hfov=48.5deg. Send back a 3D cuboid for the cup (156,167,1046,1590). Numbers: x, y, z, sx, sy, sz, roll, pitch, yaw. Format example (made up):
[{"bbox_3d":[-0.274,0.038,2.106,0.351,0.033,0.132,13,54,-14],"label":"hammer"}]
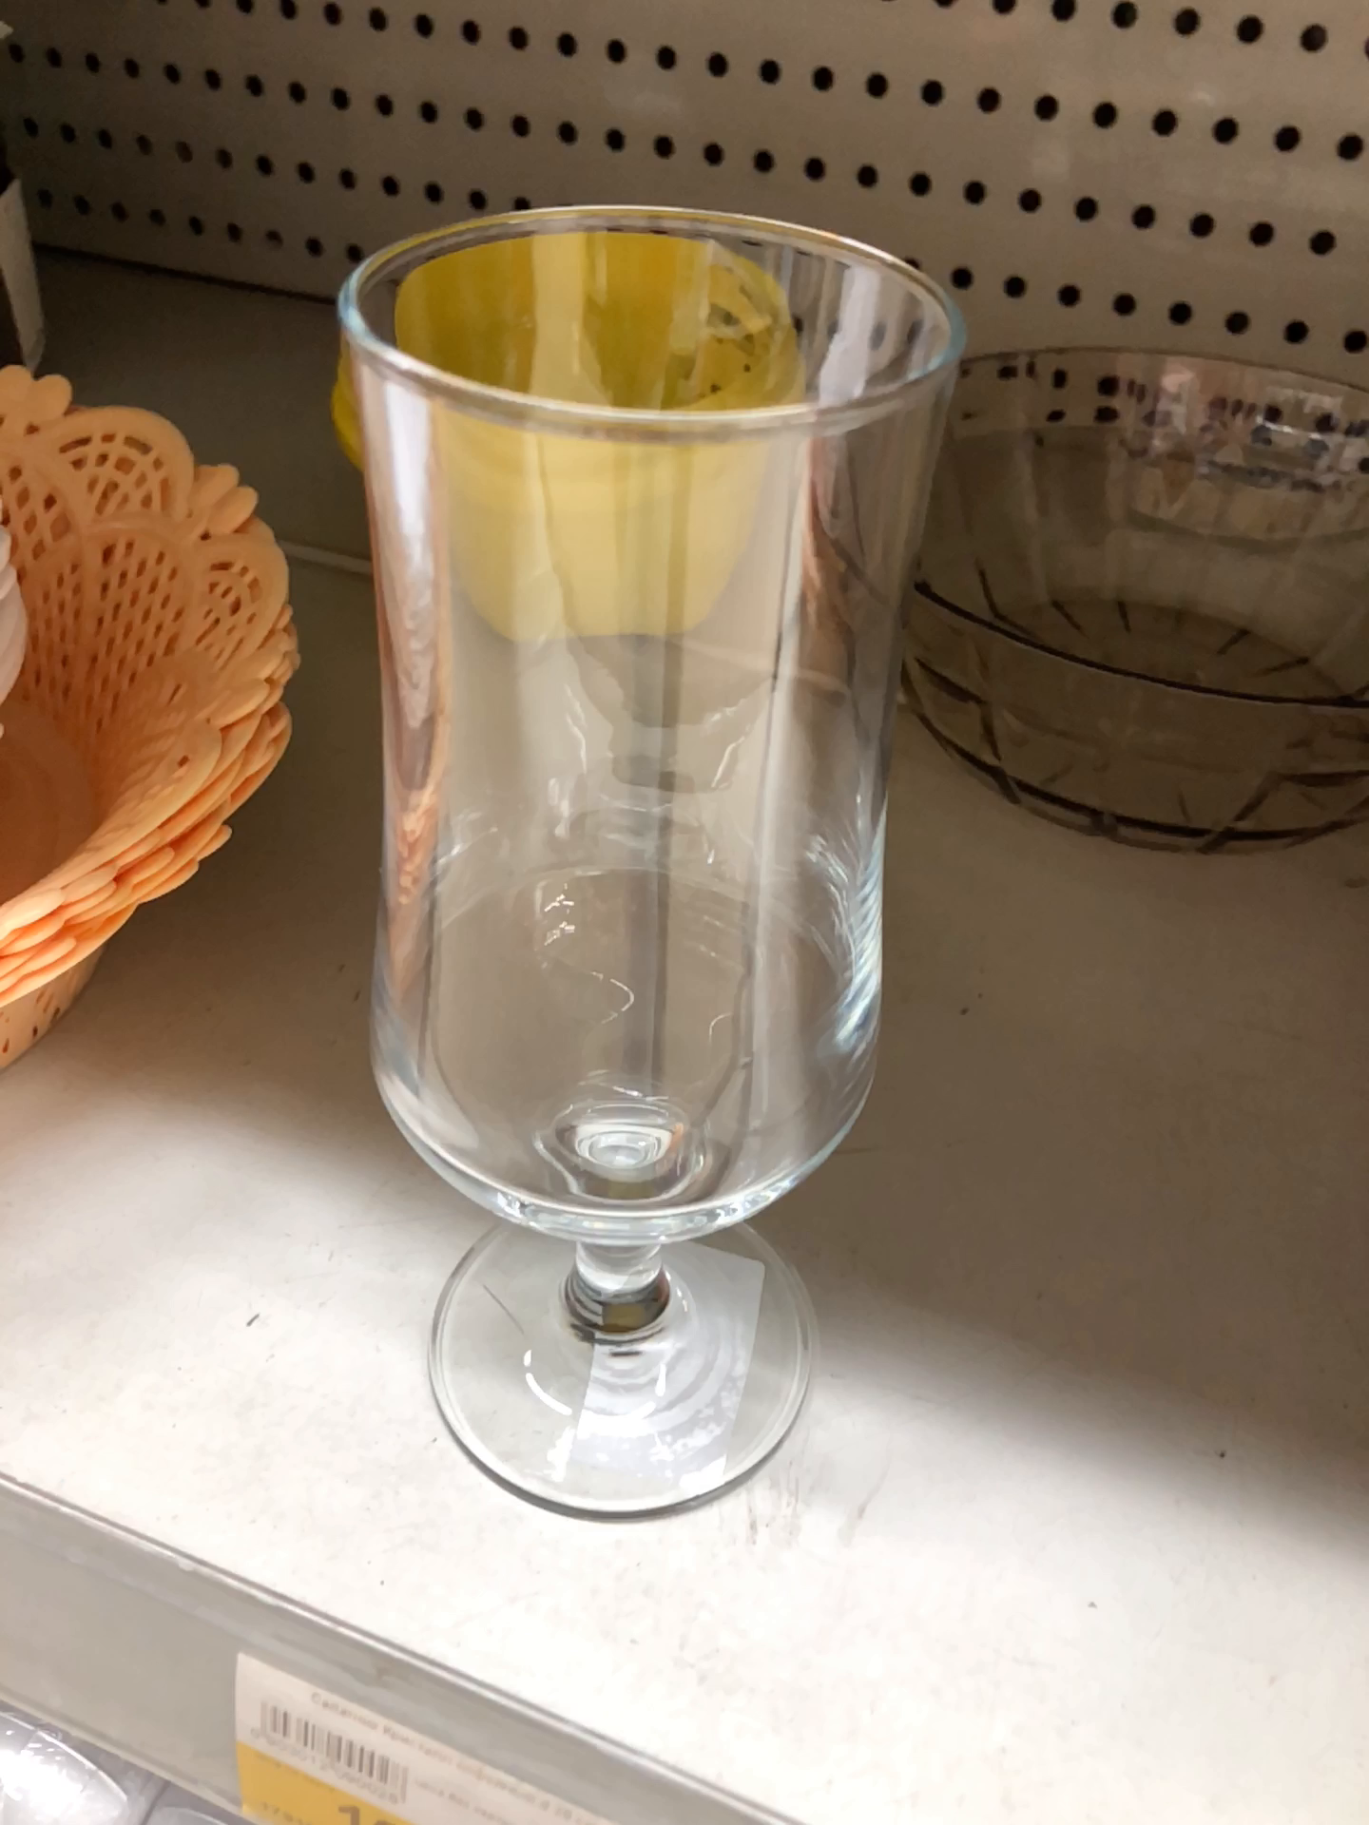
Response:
[{"bbox_3d":[-0.006,0.009,0.222,0.078,0.194,0.076,1,39,-1],"label":"cup"}]
